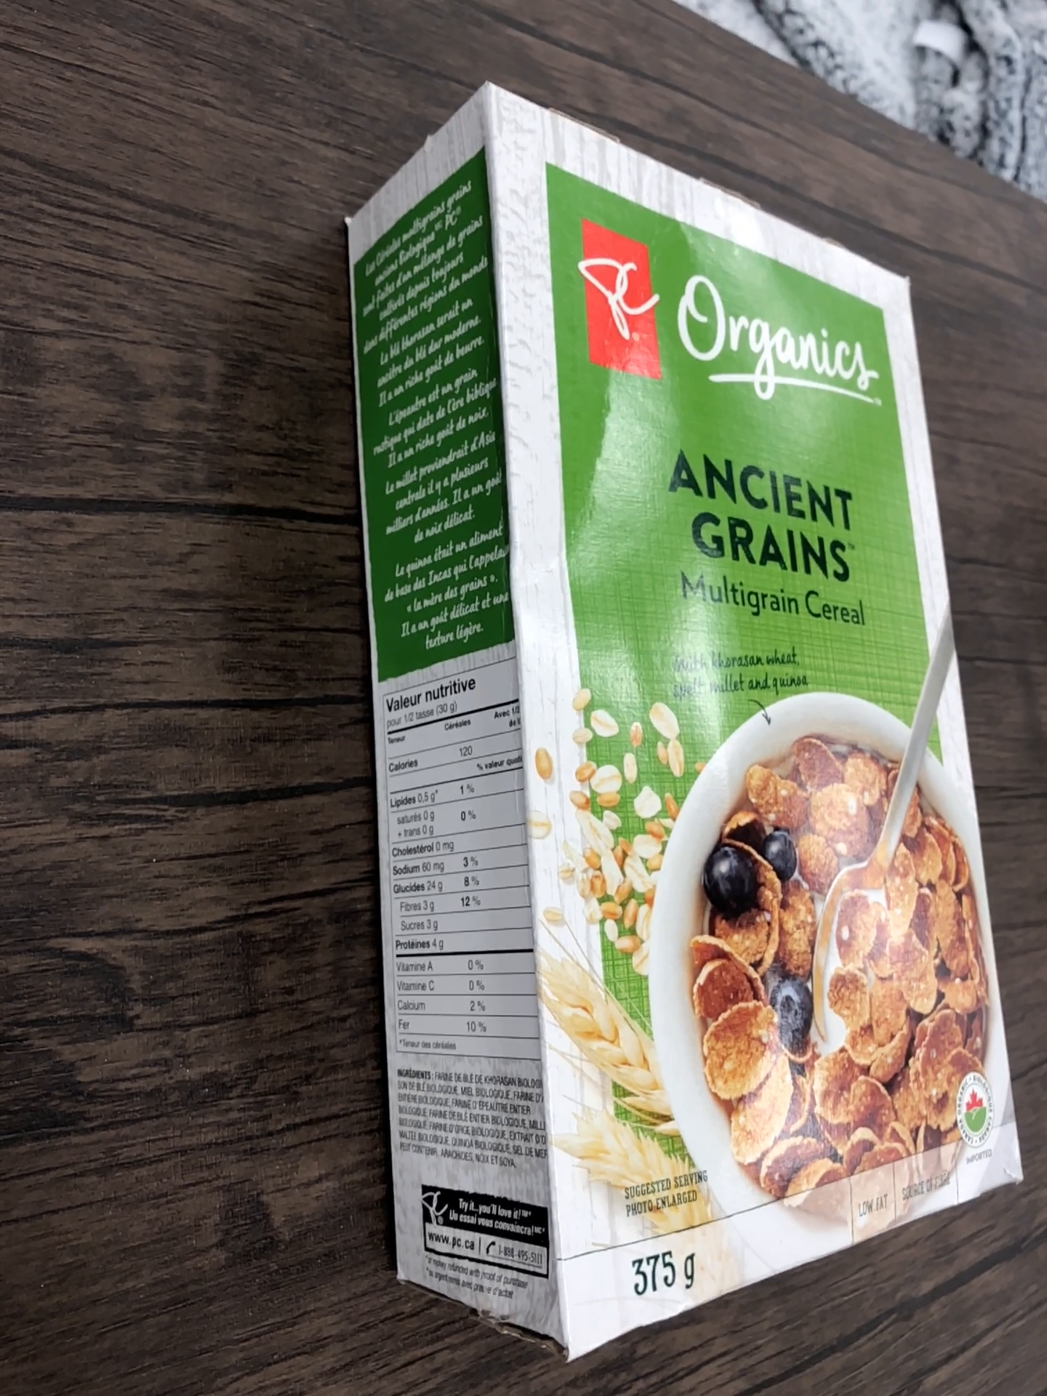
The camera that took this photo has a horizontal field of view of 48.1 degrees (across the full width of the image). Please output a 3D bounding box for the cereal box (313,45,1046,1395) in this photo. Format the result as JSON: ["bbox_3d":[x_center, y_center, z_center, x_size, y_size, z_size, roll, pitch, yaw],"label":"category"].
[{"bbox_3d":[0.045,0.004,0.293,0.171,0.070,0.250,3,80,-38],"label":"cereal box"}]
